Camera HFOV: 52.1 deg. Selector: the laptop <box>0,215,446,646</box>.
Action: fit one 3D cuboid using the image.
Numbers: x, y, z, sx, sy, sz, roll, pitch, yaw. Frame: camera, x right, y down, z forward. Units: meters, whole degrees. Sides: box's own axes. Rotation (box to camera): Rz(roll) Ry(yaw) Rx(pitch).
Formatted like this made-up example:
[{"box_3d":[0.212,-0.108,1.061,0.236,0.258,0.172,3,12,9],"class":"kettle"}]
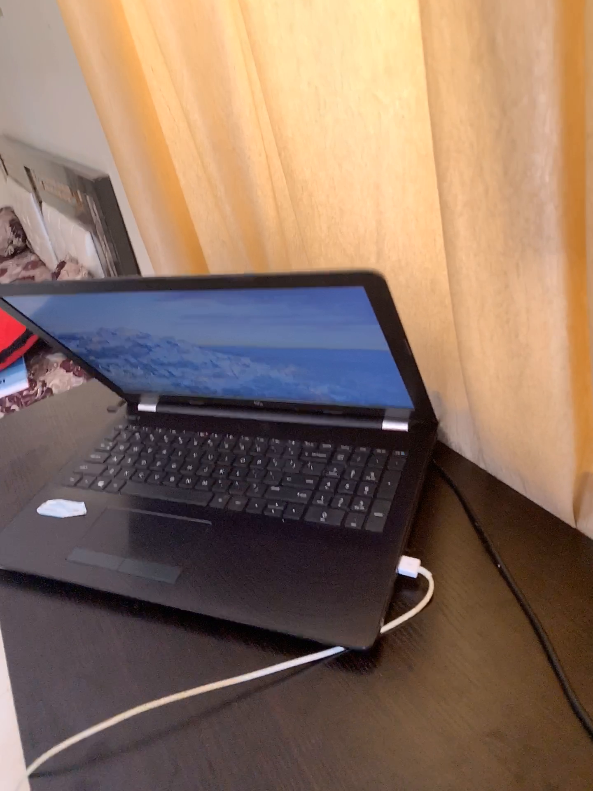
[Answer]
[{"box_3d":[-0.082,0.004,0.521,0.362,0.201,0.239,3,36,26],"class":"laptop"}]
